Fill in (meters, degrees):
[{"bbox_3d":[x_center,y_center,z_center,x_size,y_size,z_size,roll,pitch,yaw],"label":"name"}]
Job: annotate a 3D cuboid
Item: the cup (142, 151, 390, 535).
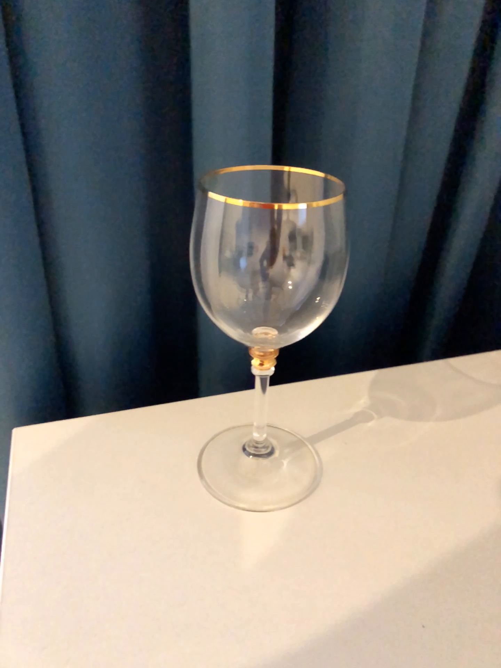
[{"bbox_3d":[0.012,0.000,0.316,0.100,0.179,0.101,1,27,-1],"label":"cup"}]
